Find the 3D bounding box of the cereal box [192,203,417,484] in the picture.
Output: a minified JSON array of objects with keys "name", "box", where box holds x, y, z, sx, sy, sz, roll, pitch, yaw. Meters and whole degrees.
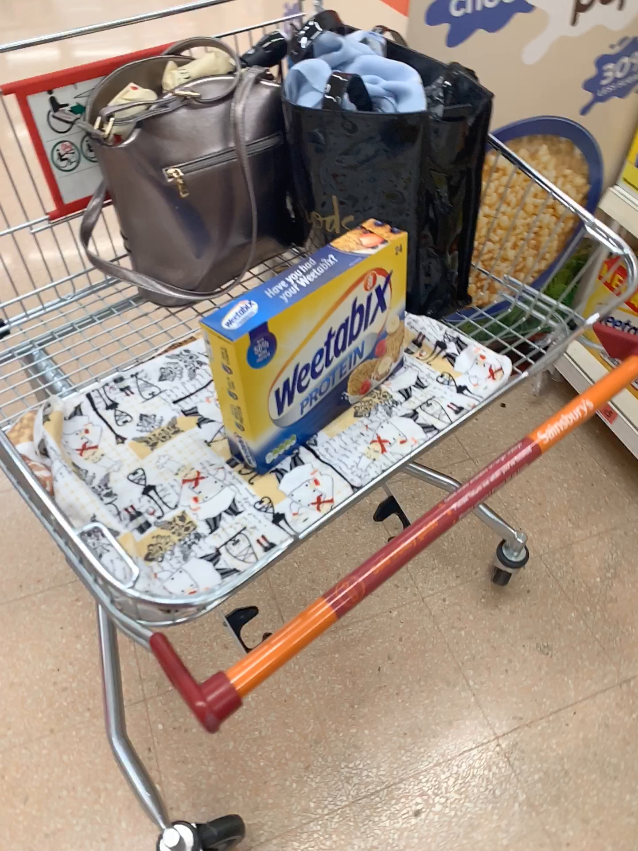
[{"name":"cereal box","box":[0.001,-0.093,0.706,0.060,0.198,0.261,30,53,32]}]
